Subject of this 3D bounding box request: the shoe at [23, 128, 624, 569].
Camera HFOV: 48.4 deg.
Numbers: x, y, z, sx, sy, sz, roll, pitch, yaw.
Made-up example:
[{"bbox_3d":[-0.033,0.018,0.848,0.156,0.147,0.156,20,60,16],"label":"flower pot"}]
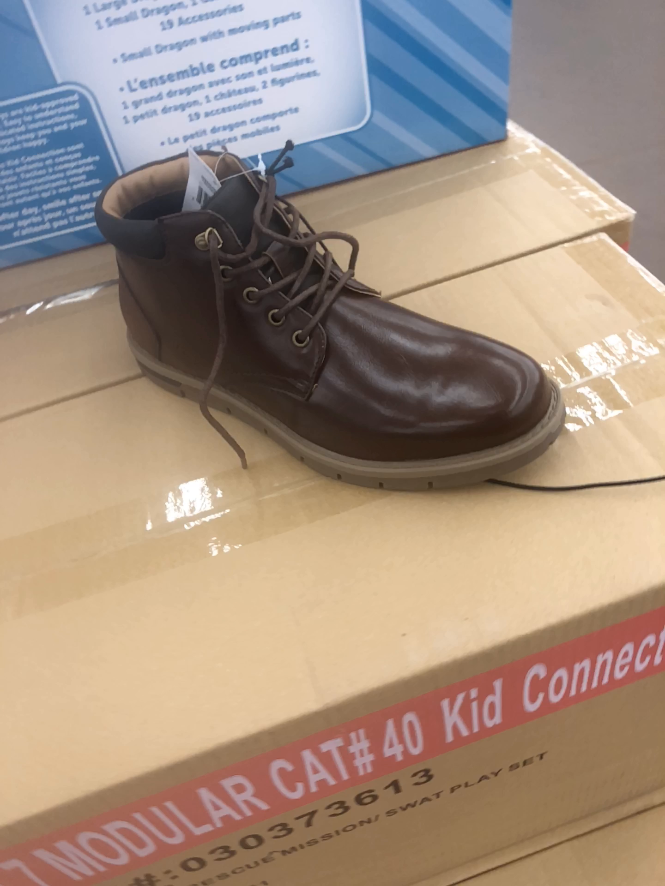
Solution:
[{"bbox_3d":[-0.005,-0.067,0.434,0.290,0.159,0.120,18,54,27],"label":"shoe"}]
